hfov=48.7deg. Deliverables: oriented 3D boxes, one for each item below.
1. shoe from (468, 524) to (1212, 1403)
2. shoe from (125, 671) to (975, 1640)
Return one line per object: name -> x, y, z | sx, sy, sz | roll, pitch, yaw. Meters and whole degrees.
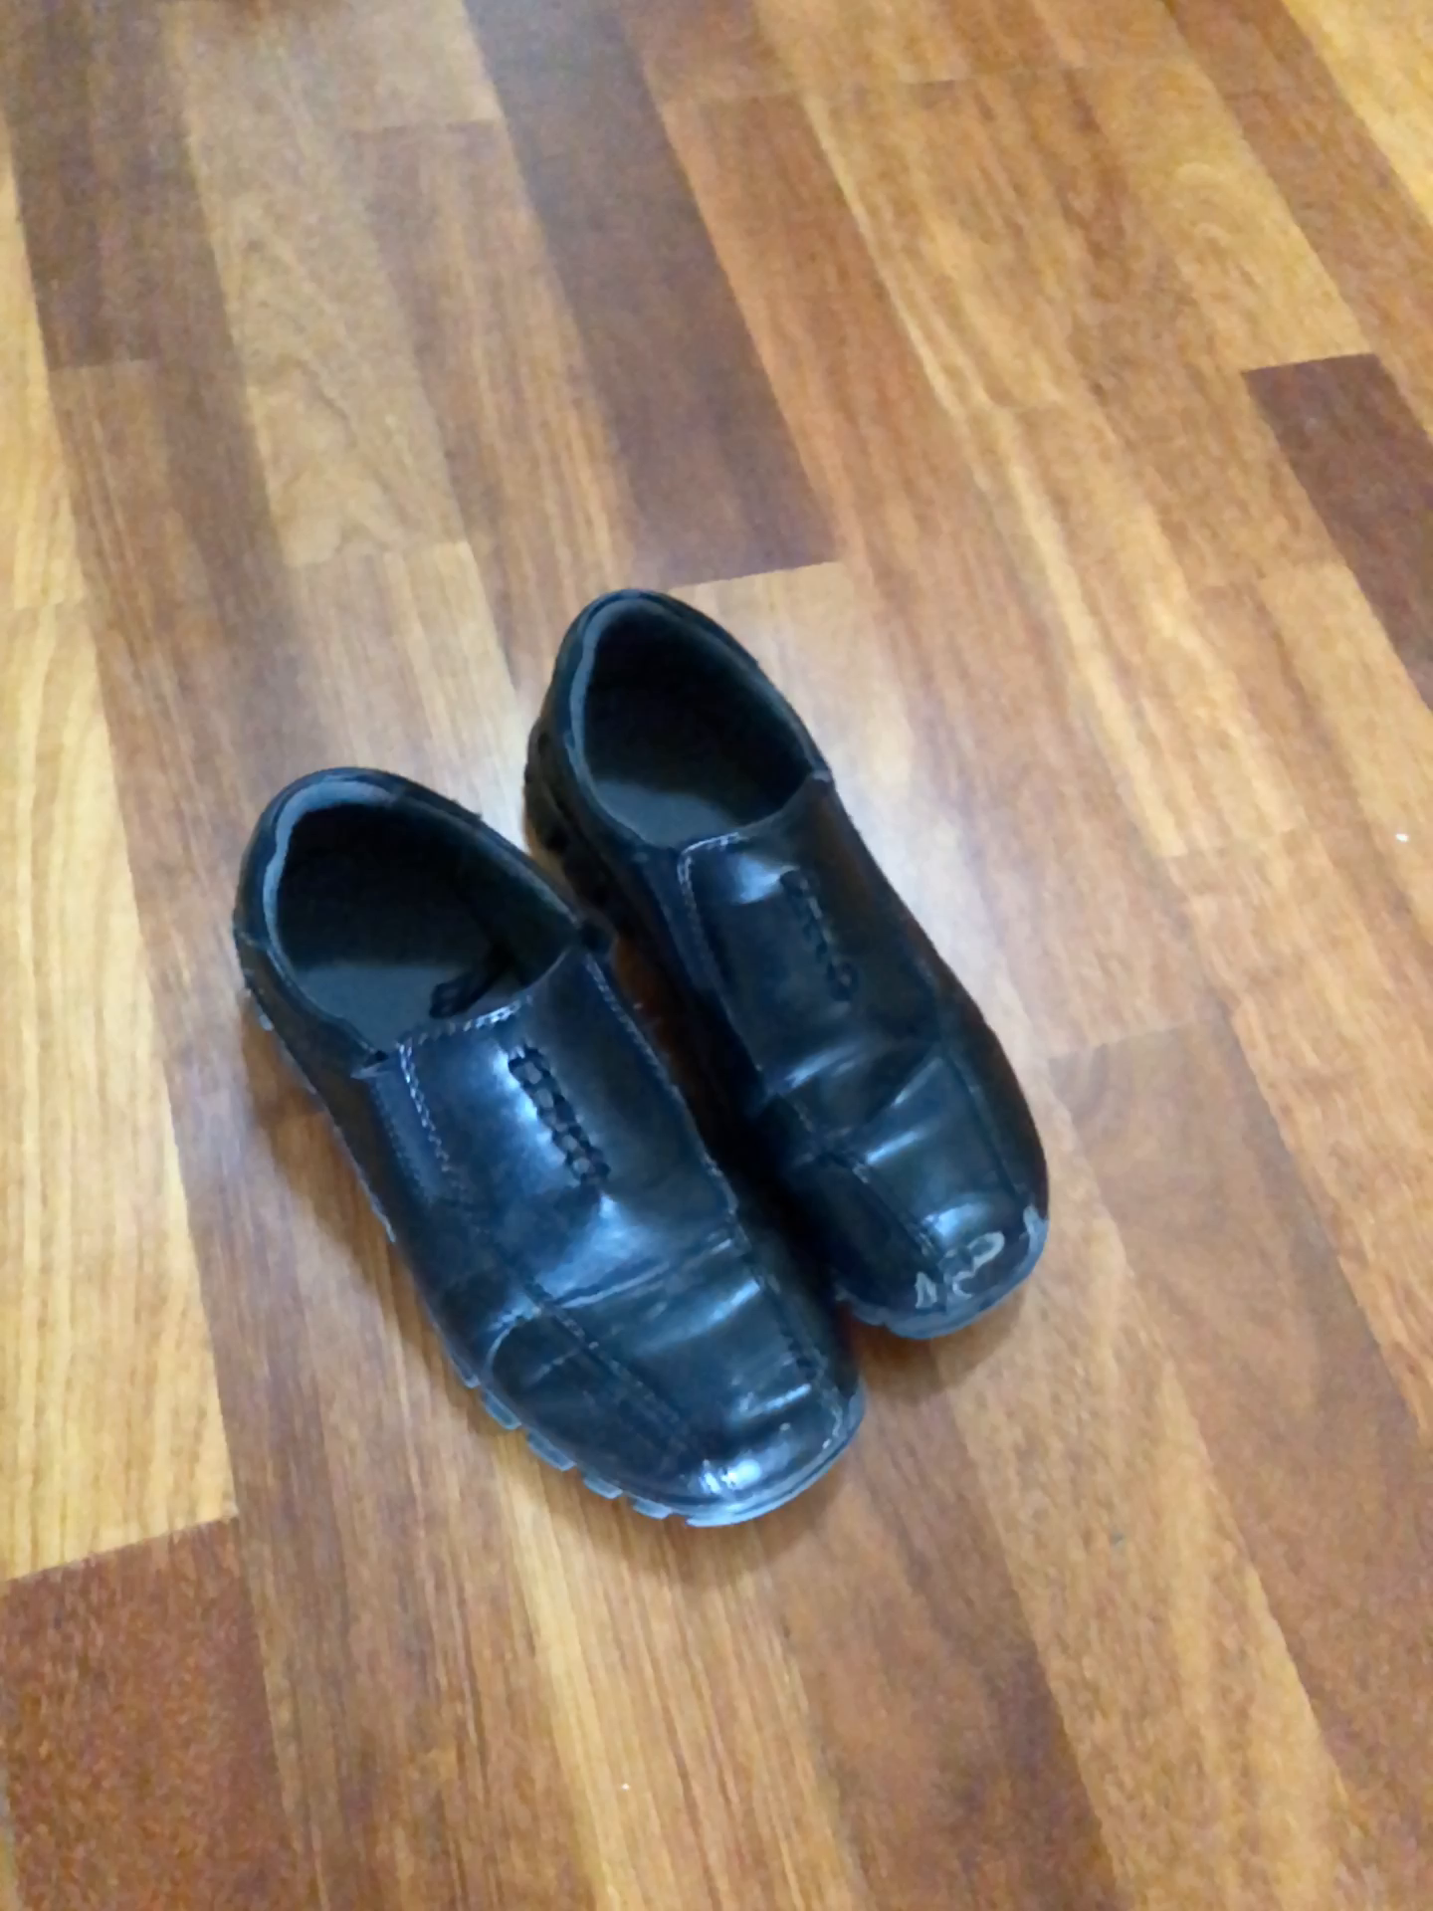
shoe -> 0.023, -0.003, 0.460 | 0.091, 0.075, 0.233 | -26, 70, -19
shoe -> -0.050, 0.048, 0.422 | 0.094, 0.075, 0.233 | -32, 71, -21
